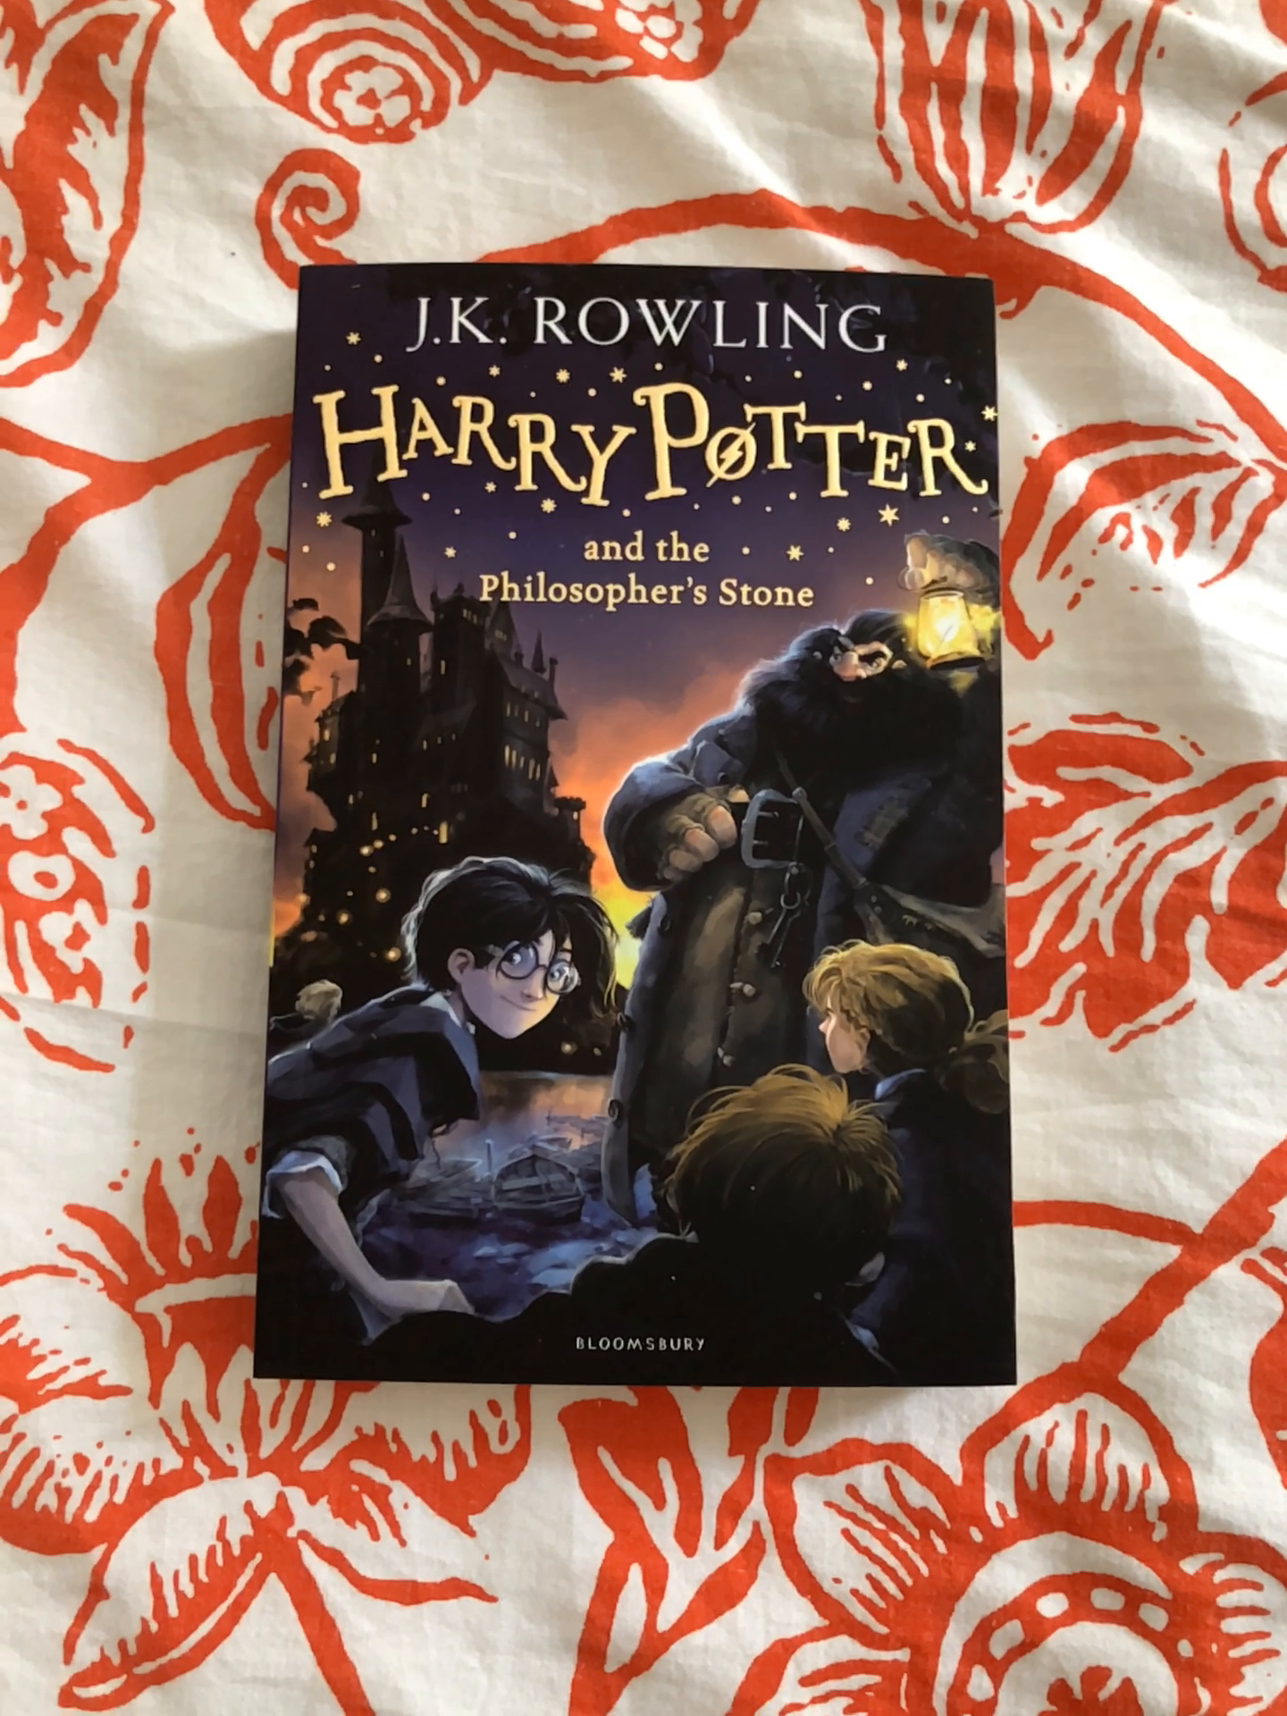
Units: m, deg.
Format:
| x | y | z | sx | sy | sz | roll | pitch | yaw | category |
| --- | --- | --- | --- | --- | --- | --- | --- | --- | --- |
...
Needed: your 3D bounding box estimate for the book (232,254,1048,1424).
| x | y | z | sx | sy | sz | roll | pitch | yaw | category |
| --- | --- | --- | --- | --- | --- | --- | --- | --- | --- |
| 0.002 | -0.006 | 0.247 | 0.127 | 0.020 | 0.189 | 3 | 84 | -1 | book |
